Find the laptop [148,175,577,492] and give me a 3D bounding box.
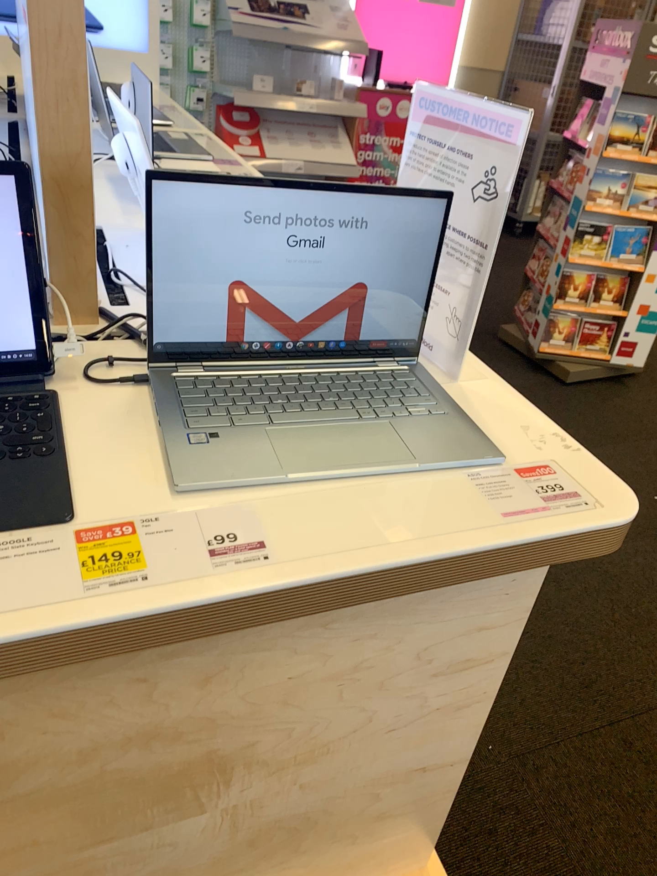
[{"bbox_3d":[0.008,-0.105,0.627,0.317,0.195,0.205,-4,34,-19],"label":"laptop"}]
